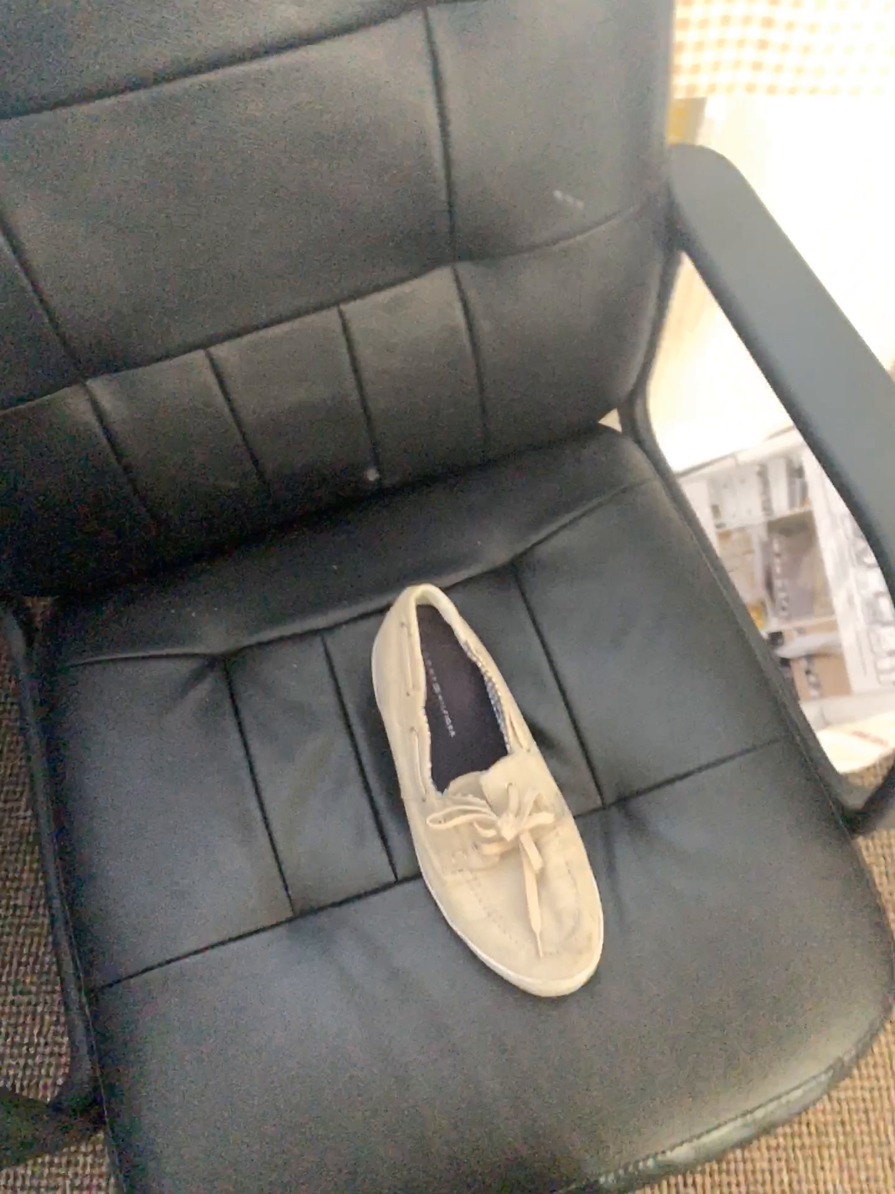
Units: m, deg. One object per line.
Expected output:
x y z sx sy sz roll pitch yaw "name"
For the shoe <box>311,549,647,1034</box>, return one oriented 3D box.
0.011 0.114 0.576 0.100 0.070 0.271 -21 67 -8 "shoe"
